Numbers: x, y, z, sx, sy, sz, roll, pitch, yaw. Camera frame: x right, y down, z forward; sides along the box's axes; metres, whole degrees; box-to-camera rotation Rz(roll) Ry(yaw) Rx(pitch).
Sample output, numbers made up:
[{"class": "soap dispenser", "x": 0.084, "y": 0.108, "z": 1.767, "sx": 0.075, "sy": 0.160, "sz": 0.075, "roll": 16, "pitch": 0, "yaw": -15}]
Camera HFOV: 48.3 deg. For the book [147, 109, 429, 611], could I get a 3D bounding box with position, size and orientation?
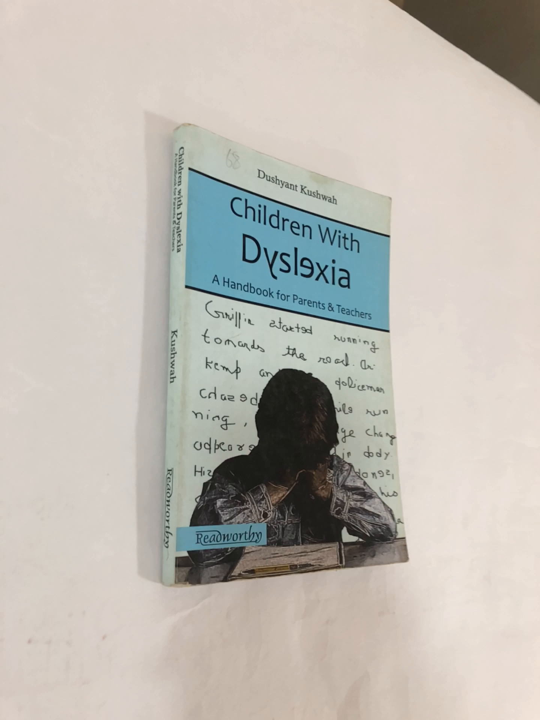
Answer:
[{"class": "book", "x": 0.015, "y": 0.002, "z": 0.314, "sx": 0.151, "sy": 0.030, "sz": 0.220, "roll": 8, "pitch": 76, "yaw": -36}]
